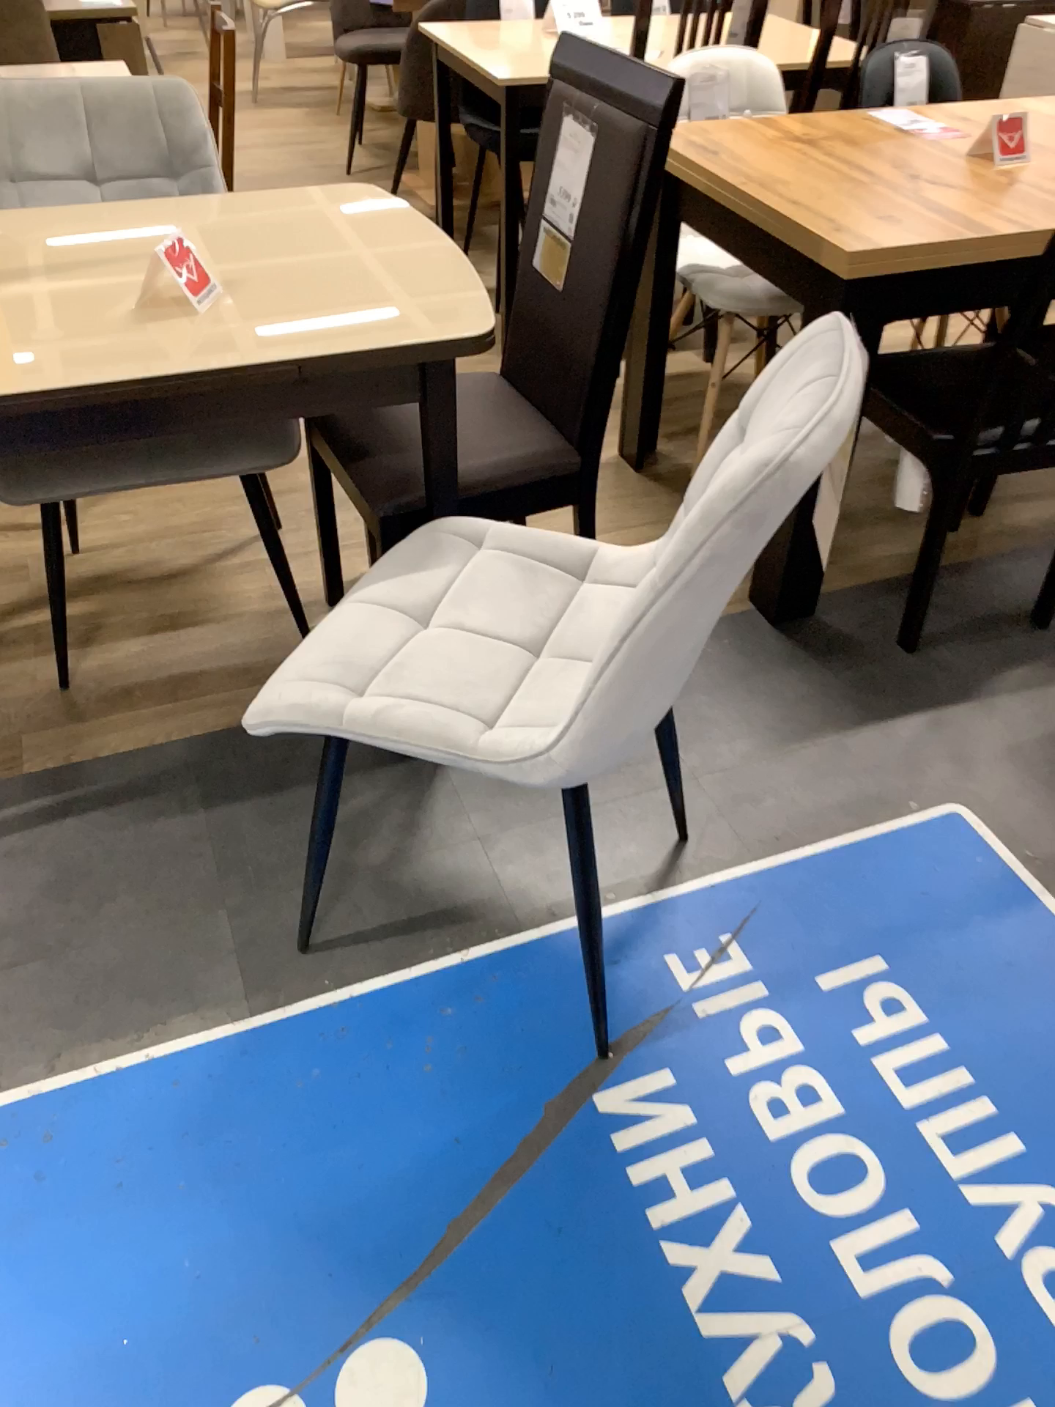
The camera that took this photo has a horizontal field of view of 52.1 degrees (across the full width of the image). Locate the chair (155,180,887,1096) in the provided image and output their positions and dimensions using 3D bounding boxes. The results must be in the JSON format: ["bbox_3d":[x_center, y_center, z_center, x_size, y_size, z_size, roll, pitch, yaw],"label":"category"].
[{"bbox_3d":[0.015,-0.056,1.403,0.600,0.974,0.483,15,43,15],"label":"chair"}]
